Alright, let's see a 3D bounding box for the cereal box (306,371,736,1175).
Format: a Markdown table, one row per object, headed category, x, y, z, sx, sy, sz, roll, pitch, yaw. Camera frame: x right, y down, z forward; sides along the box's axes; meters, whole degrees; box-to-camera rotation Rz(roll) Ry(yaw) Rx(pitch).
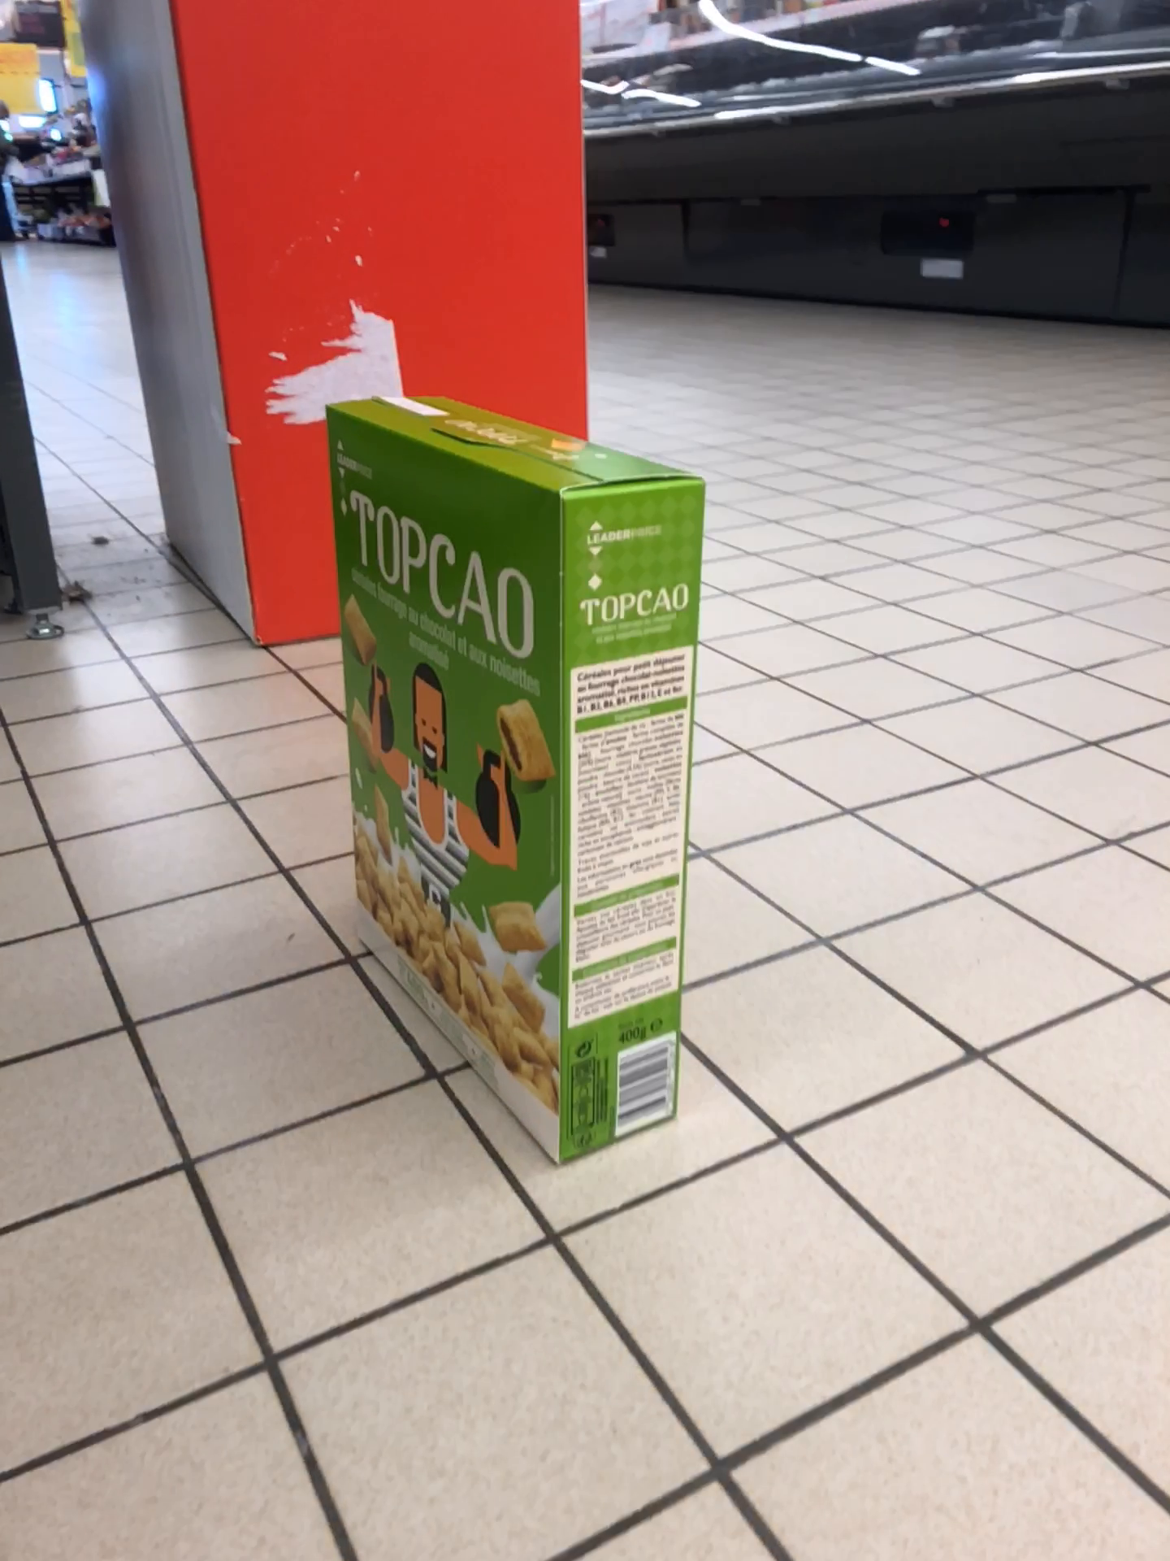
| category | x | y | z | sx | sy | sz | roll | pitch | yaw |
| --- | --- | --- | --- | --- | --- | --- | --- | --- | --- |
| cereal box | -0.038 | -0.016 | 0.499 | 0.060 | 0.249 | 0.200 | -12 | 28 | -30 |
